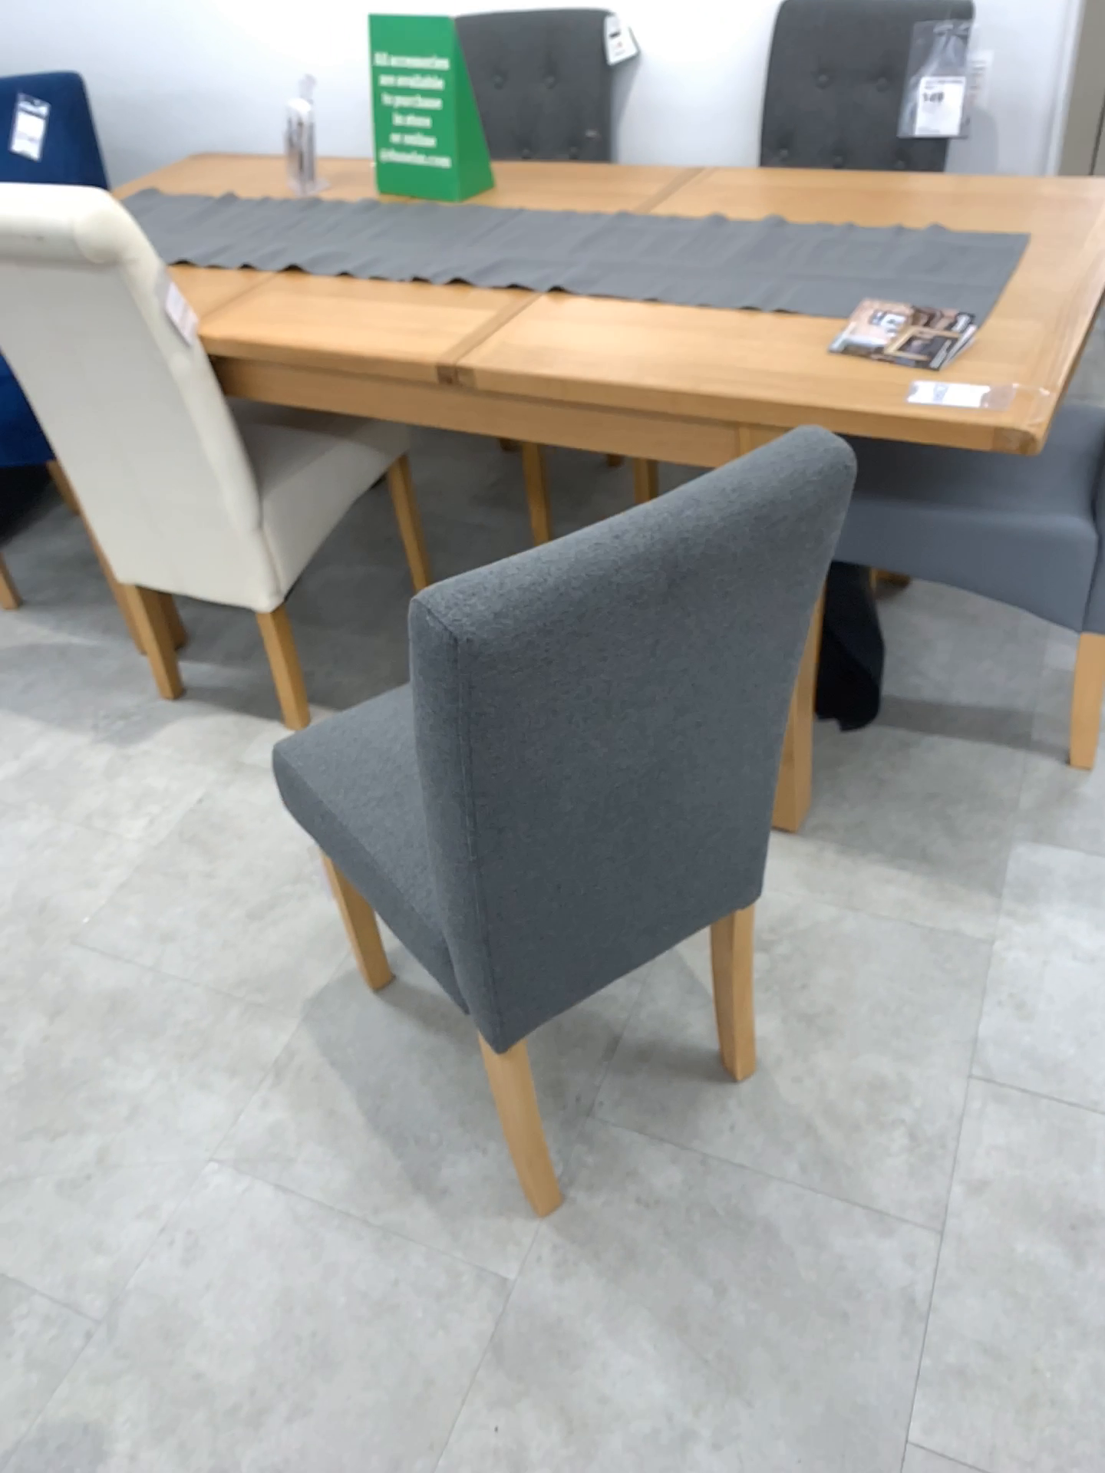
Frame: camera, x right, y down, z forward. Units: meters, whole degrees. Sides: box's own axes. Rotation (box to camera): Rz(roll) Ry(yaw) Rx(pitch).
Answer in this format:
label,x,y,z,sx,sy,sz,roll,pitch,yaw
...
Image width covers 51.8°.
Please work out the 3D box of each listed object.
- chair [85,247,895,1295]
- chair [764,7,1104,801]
label,x,y,z,sx,sy,sz,roll,pitch,yaw
chair,-0.059,0.022,1.242,0.445,0.830,0.647,-26,43,-20
chair,0.689,-0.469,1.653,0.624,0.899,0.508,13,44,23
